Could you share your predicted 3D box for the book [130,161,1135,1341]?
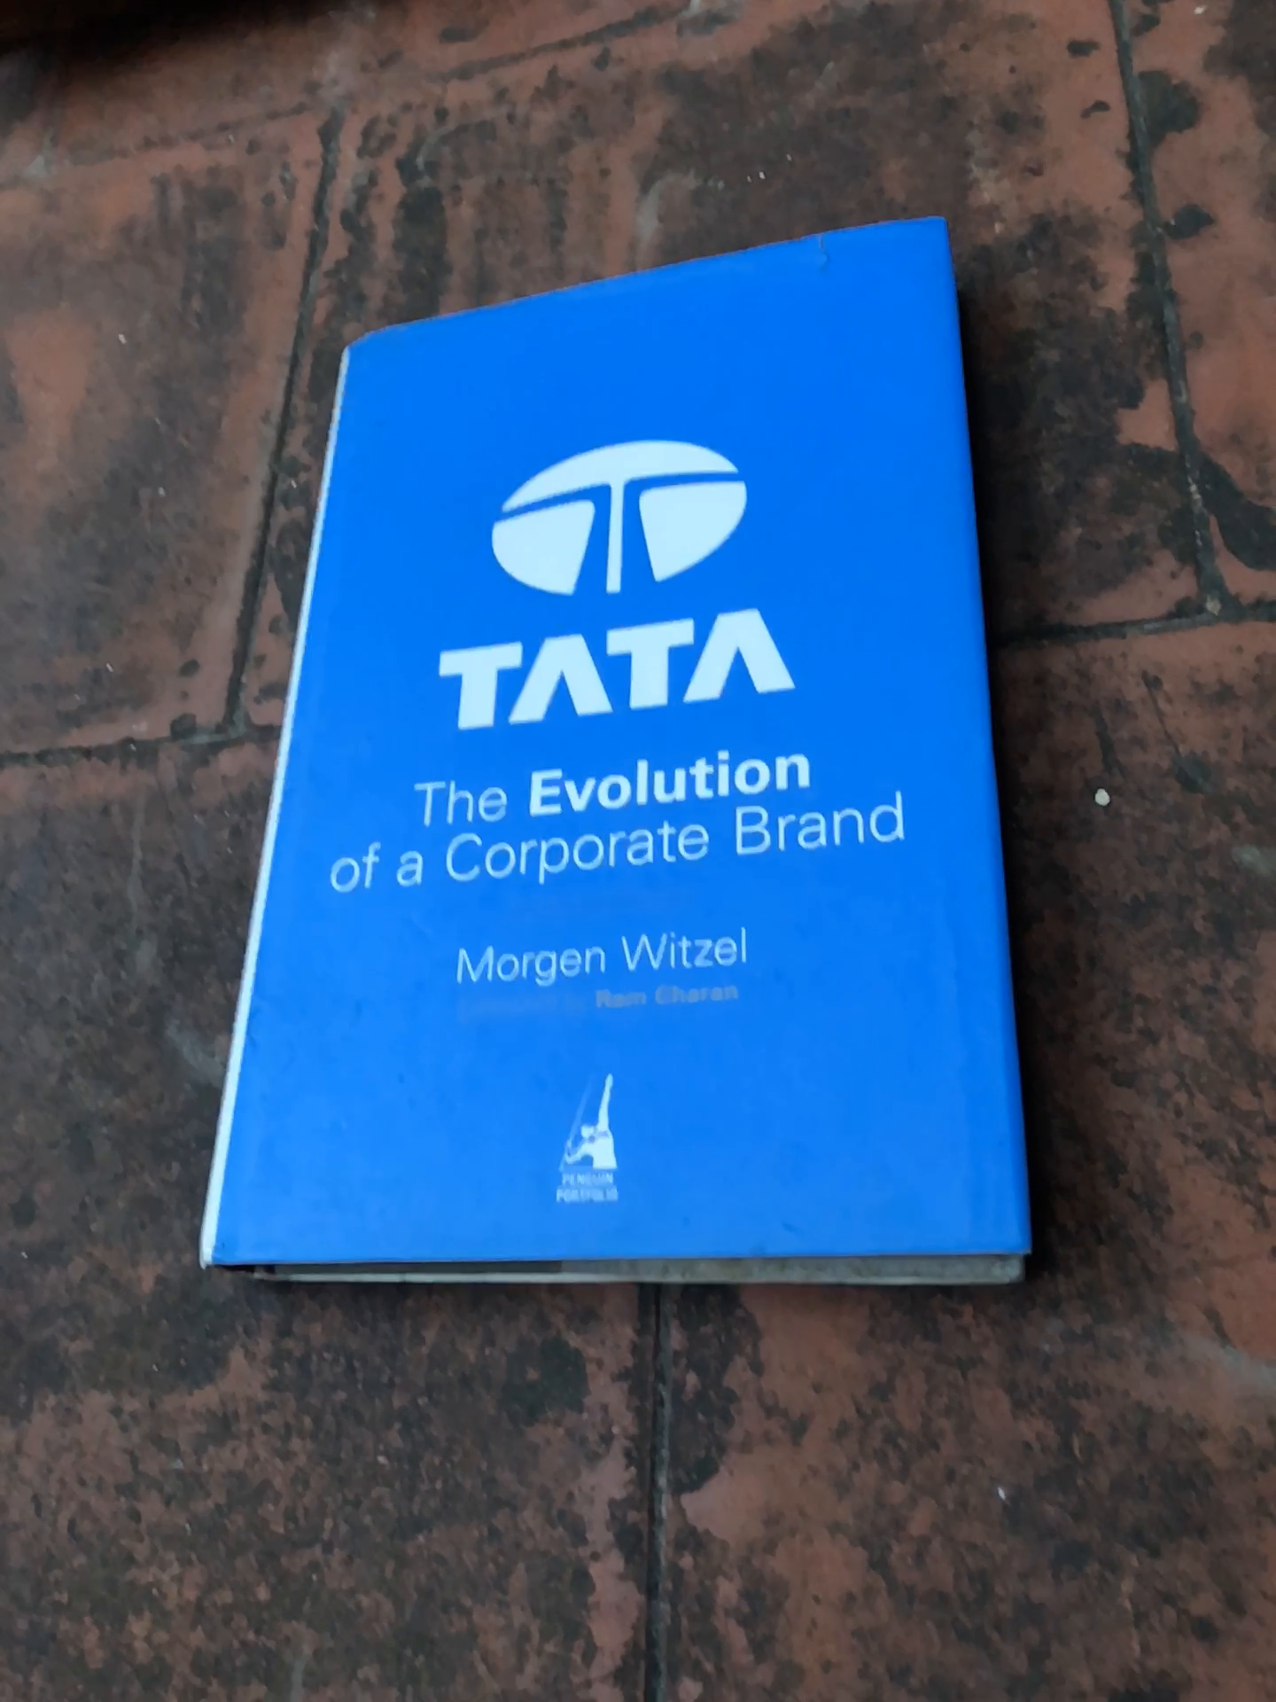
[{"bbox_3d":[0.001,-0.027,0.299,0.170,0.040,0.240,-5,64,16],"label":"book"}]
